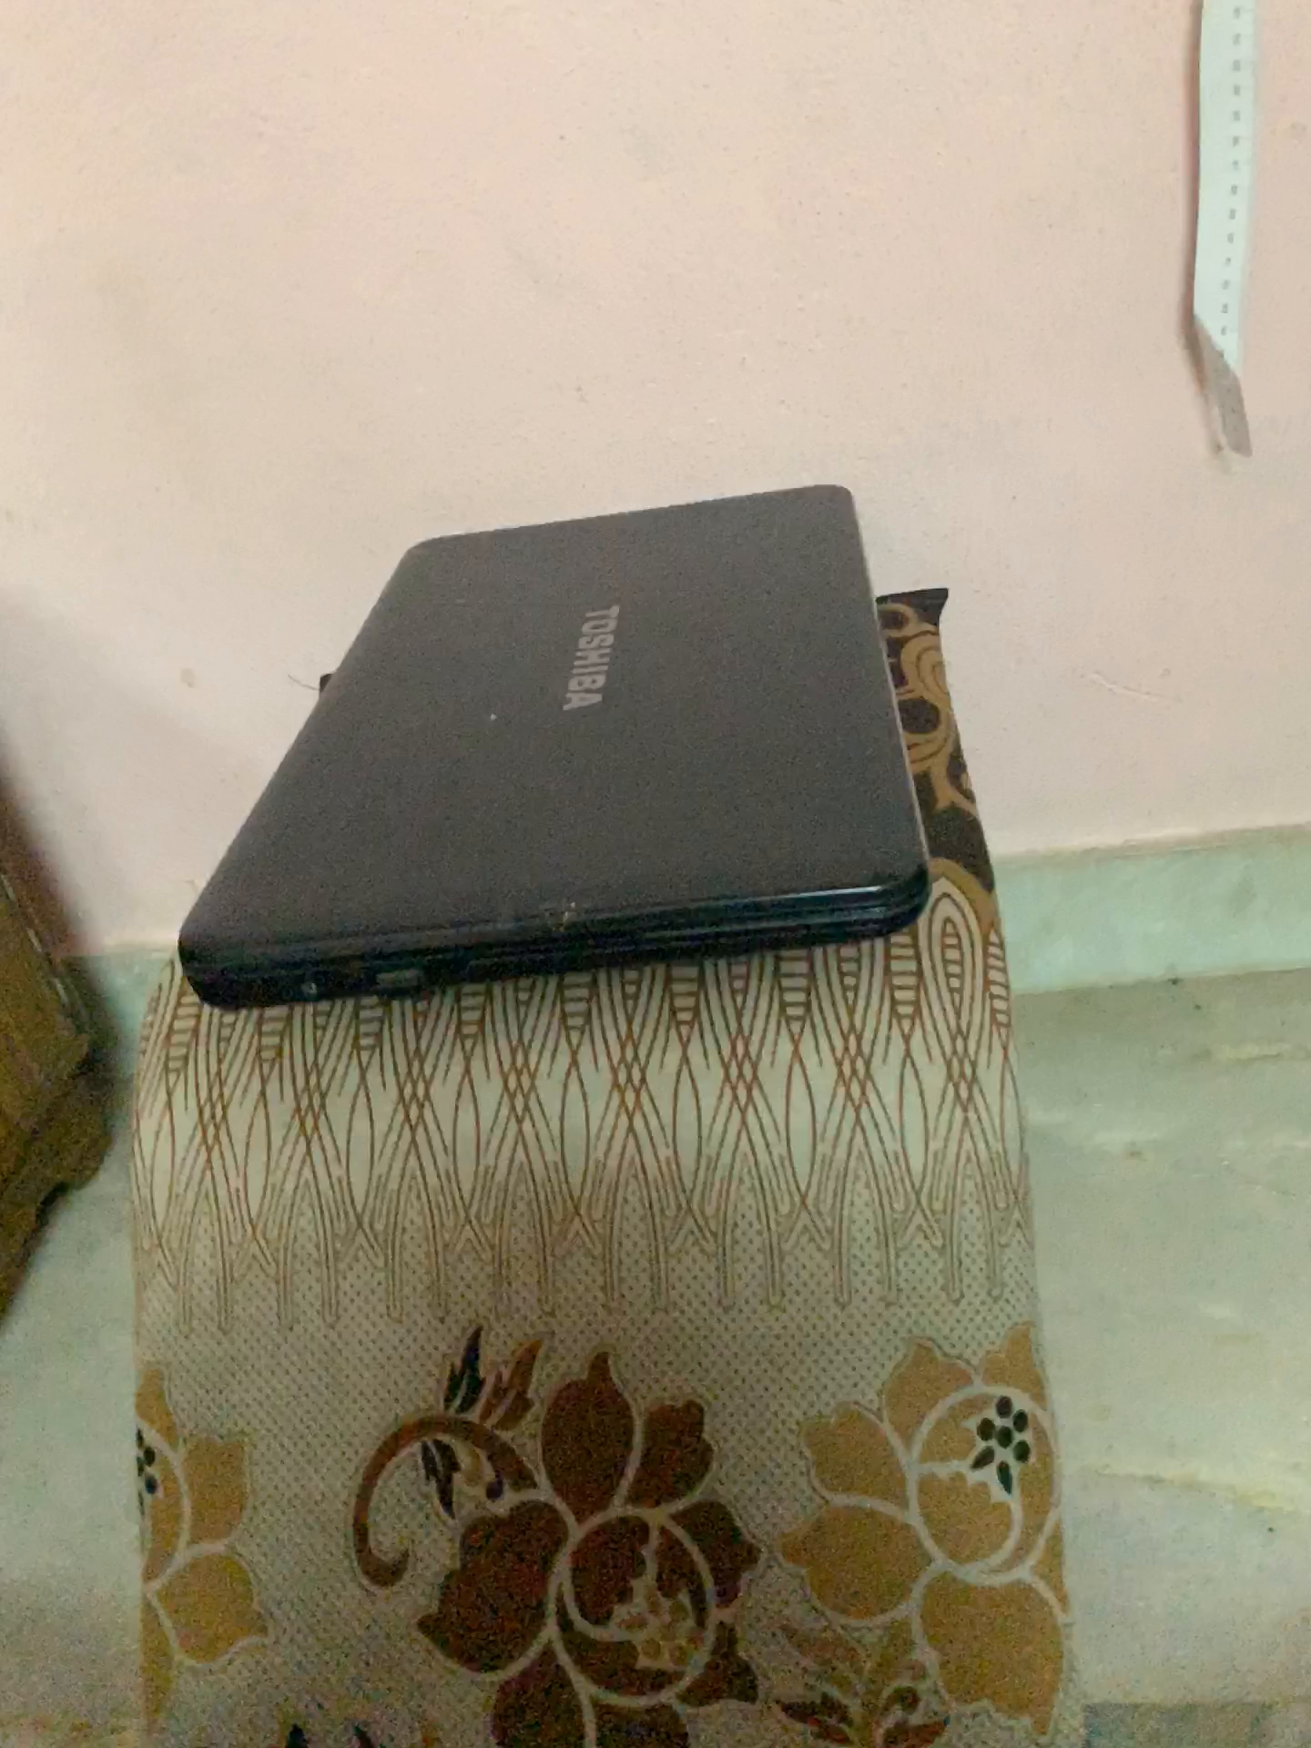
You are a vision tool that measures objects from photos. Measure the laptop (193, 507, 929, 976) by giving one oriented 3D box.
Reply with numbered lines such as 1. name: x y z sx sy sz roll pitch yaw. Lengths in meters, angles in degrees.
1. laptop: -0.025 -0.079 0.550 0.222 0.001 0.372 -7 32 7
